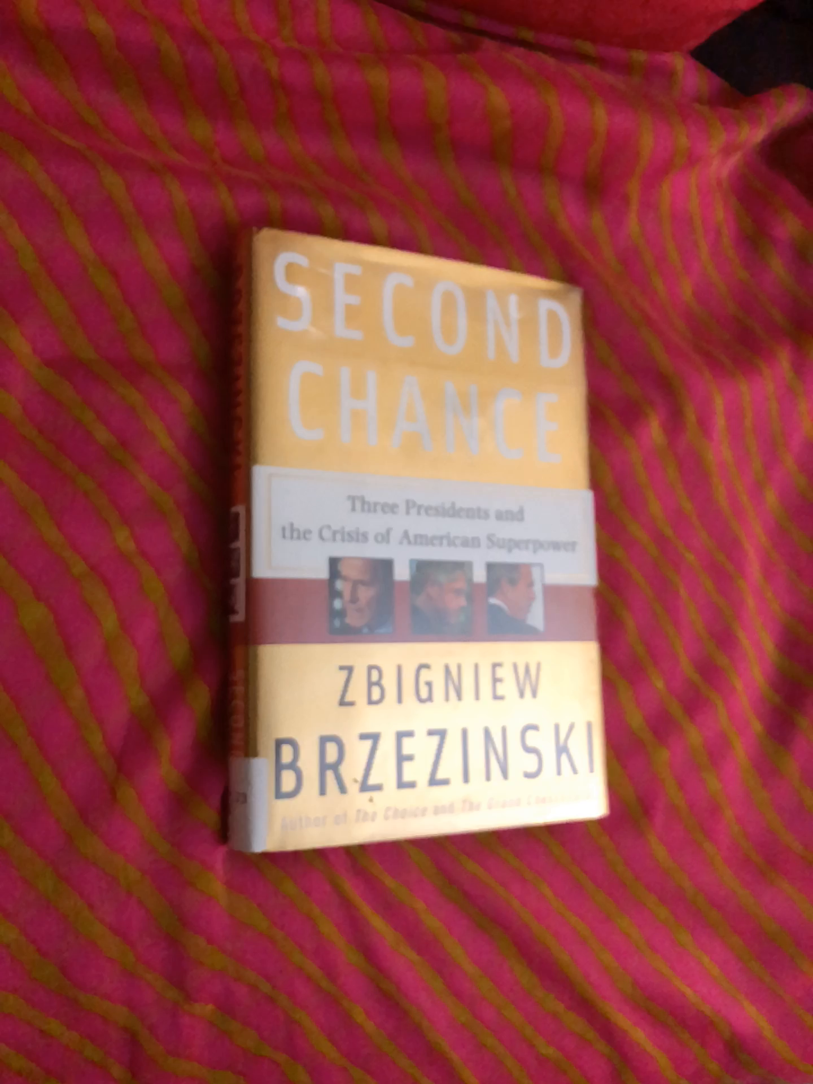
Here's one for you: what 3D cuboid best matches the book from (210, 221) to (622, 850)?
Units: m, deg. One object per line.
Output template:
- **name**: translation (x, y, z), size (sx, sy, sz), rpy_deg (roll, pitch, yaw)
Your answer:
- **book**: translation (0.004, -0.001, 0.329), size (0.140, 0.037, 0.200), rpy_deg (2, 83, -20)
